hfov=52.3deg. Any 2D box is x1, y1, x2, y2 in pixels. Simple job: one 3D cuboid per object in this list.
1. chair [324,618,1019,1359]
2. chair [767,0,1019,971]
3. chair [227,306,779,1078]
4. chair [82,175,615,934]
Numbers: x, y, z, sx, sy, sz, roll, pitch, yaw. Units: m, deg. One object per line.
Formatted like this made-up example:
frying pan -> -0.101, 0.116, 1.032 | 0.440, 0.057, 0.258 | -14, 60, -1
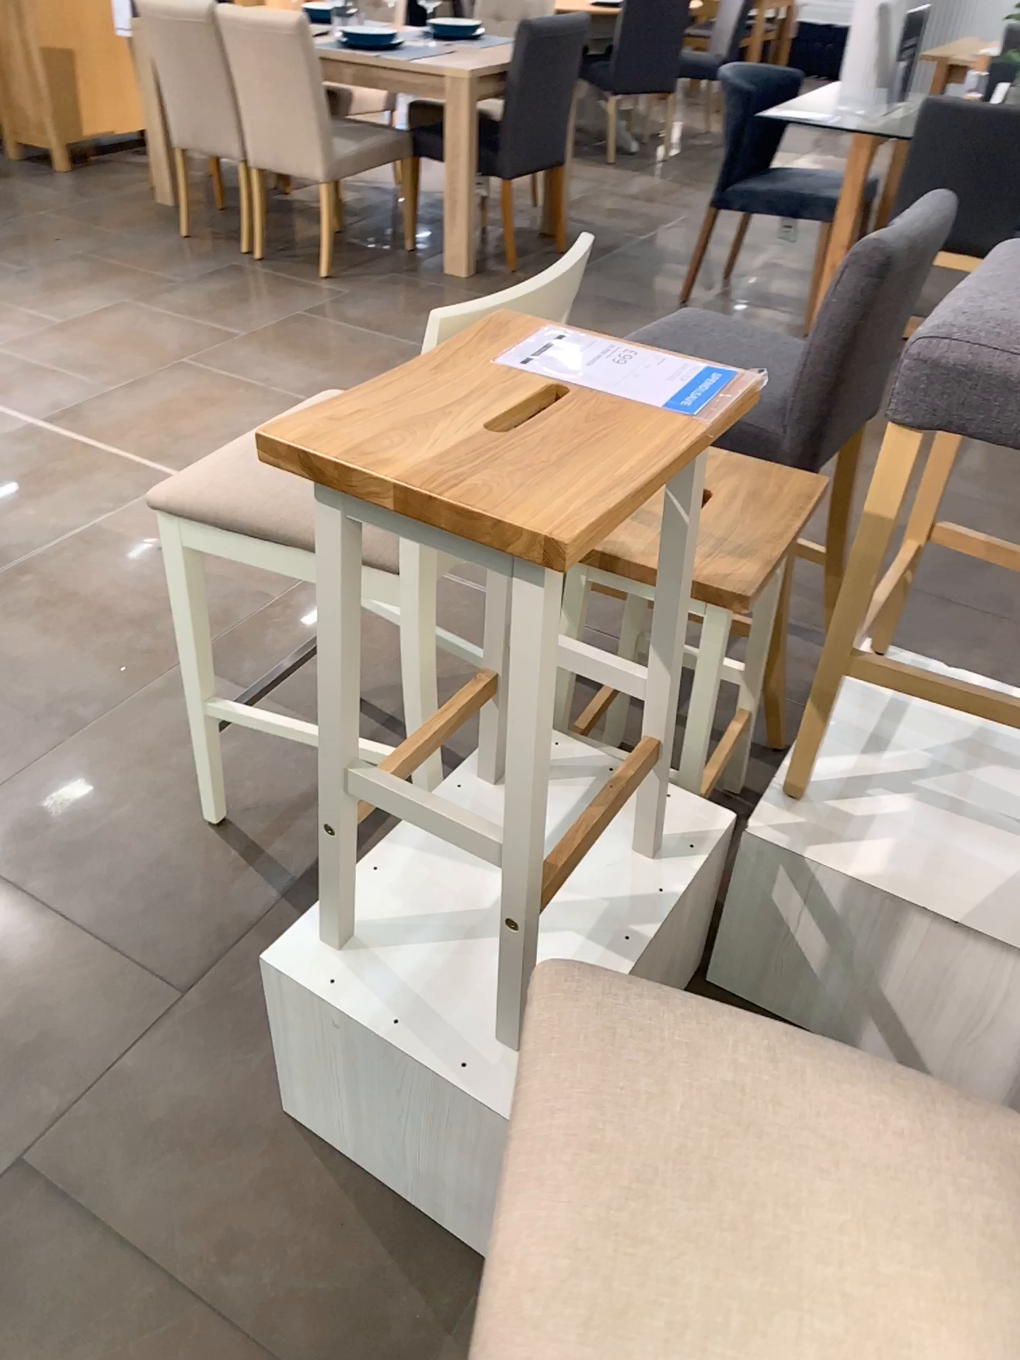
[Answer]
chair -> 0.209, 0.497, 0.737 | 0.511, 0.944, 0.421 | 8, 37, 6
chair -> 0.722, -0.266, 1.178 | 0.533, 0.984, 0.470 | 23, 41, 24
chair -> -0.001, 0.009, 1.106 | 0.322, 0.637, 0.400 | 23, 42, 24
chair -> -0.203, -0.174, 1.585 | 0.502, 0.954, 0.440 | 18, 40, 19
